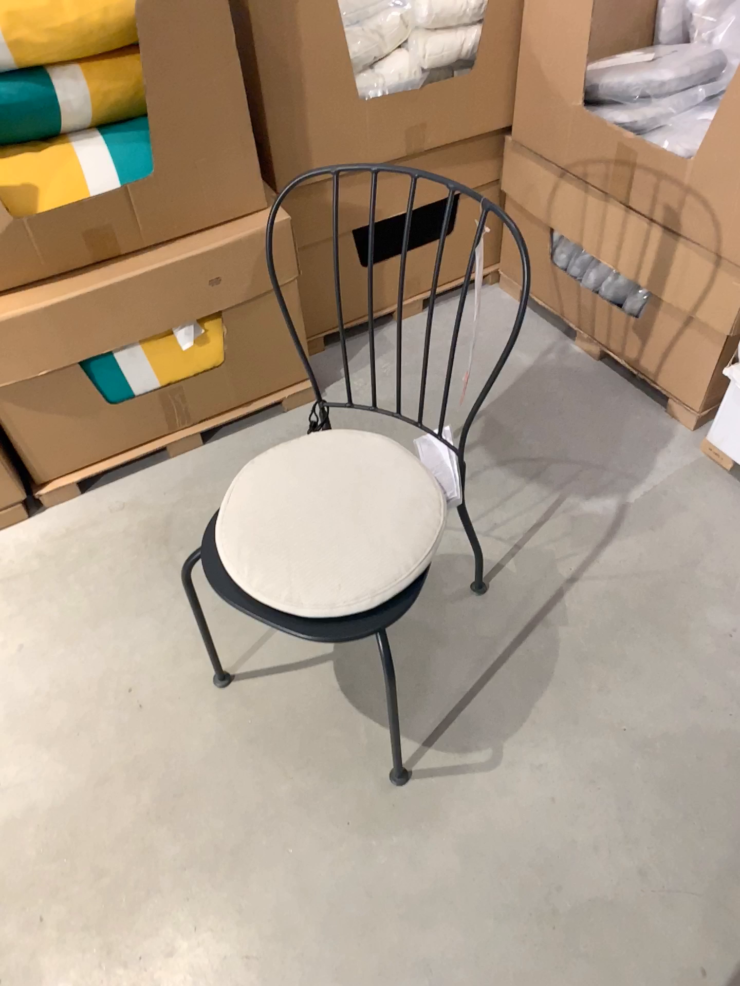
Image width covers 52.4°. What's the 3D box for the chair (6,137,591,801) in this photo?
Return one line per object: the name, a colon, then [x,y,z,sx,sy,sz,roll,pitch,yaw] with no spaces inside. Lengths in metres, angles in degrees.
chair: [-0.042,-0.001,1.196,0.481,0.817,0.521,23,55,21]
